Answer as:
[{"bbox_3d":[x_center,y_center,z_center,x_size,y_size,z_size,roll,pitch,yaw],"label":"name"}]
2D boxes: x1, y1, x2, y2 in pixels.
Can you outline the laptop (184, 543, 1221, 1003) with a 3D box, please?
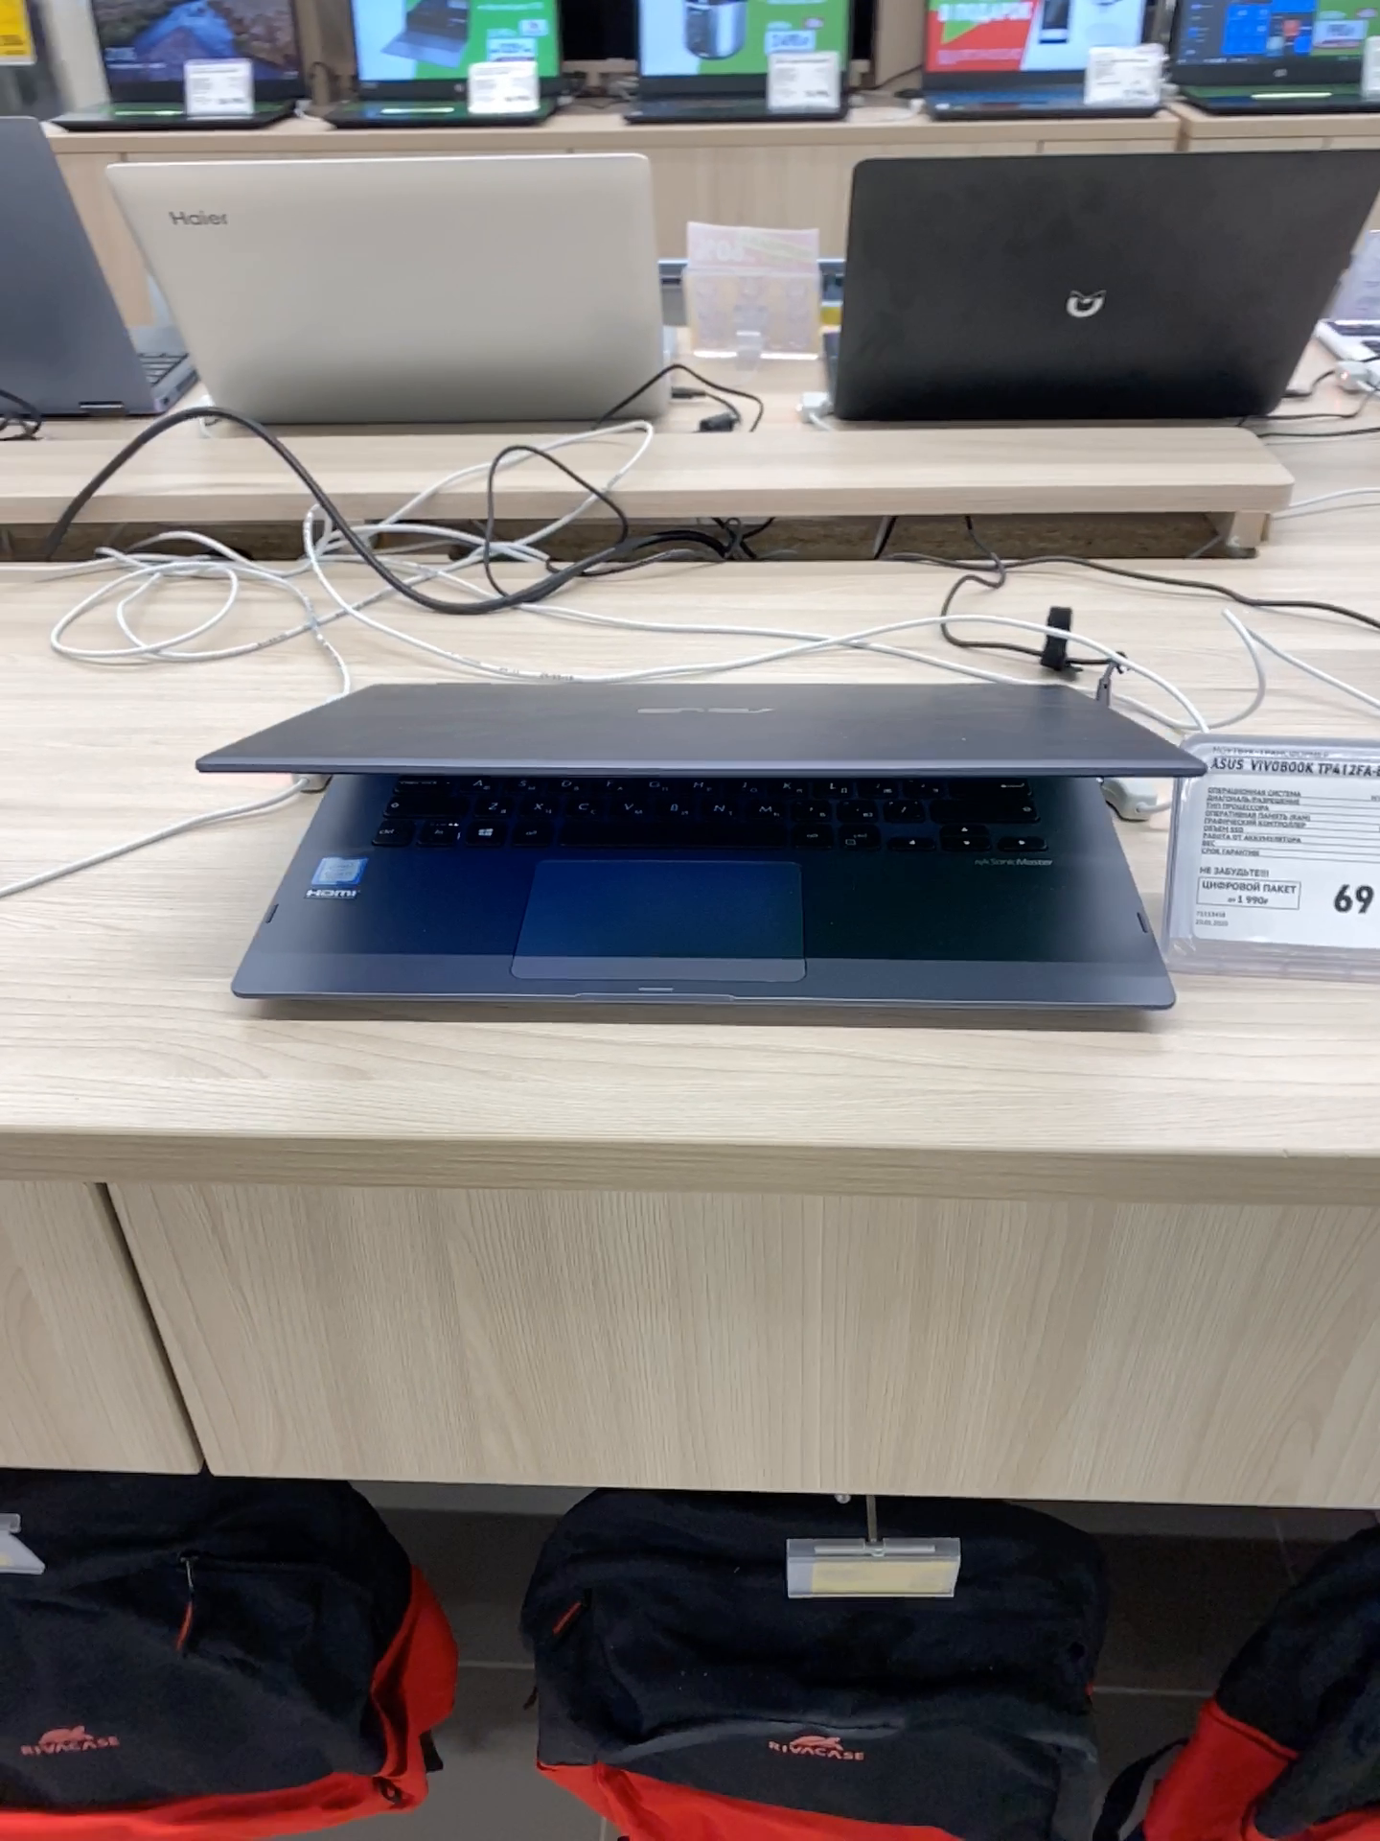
[{"bbox_3d":[0.007,-0.070,0.561,0.330,0.079,0.226,0,35,2],"label":"laptop"}]
